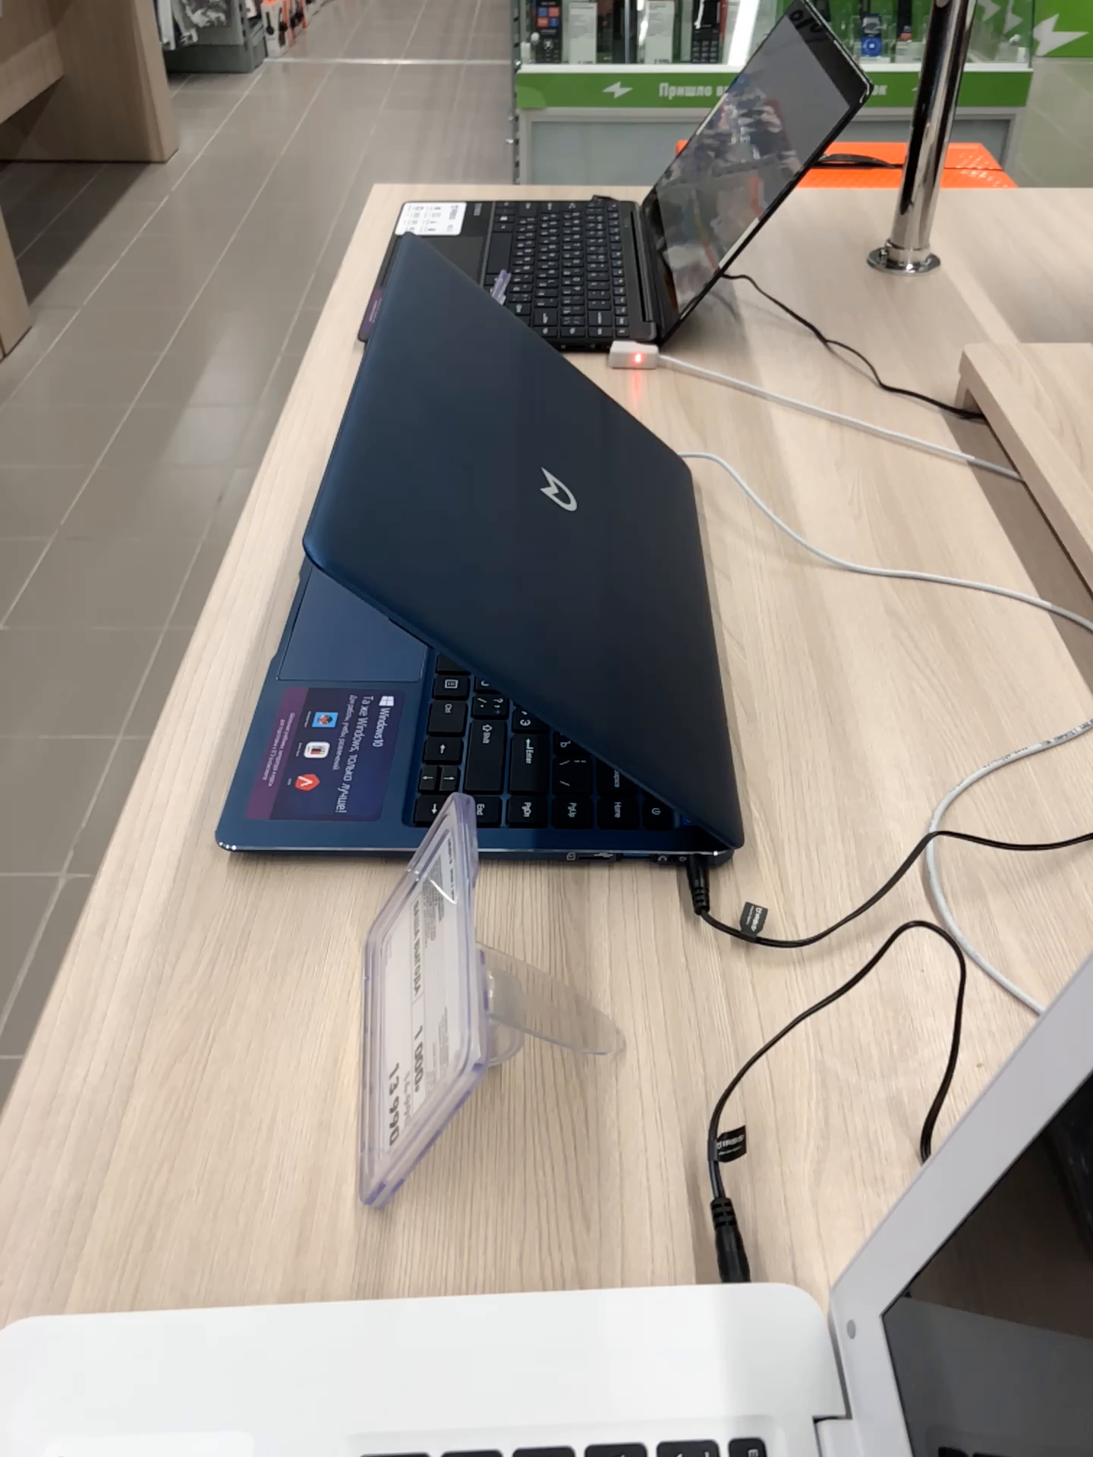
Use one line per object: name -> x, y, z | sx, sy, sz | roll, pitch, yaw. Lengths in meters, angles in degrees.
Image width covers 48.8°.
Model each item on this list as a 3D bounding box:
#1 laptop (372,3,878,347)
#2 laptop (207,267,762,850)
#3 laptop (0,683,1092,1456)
laptop -> 0.048, -0.439, 0.932 | 0.322, 0.165, 0.295 | 1, 40, 2
laptop -> -0.015, -0.098, 0.566 | 0.189, 0.124, 0.310 | 0, 39, 3
laptop -> 0.004, 0.190, 0.132 | 0.302, 0.212, 0.341 | 1, 38, 2
